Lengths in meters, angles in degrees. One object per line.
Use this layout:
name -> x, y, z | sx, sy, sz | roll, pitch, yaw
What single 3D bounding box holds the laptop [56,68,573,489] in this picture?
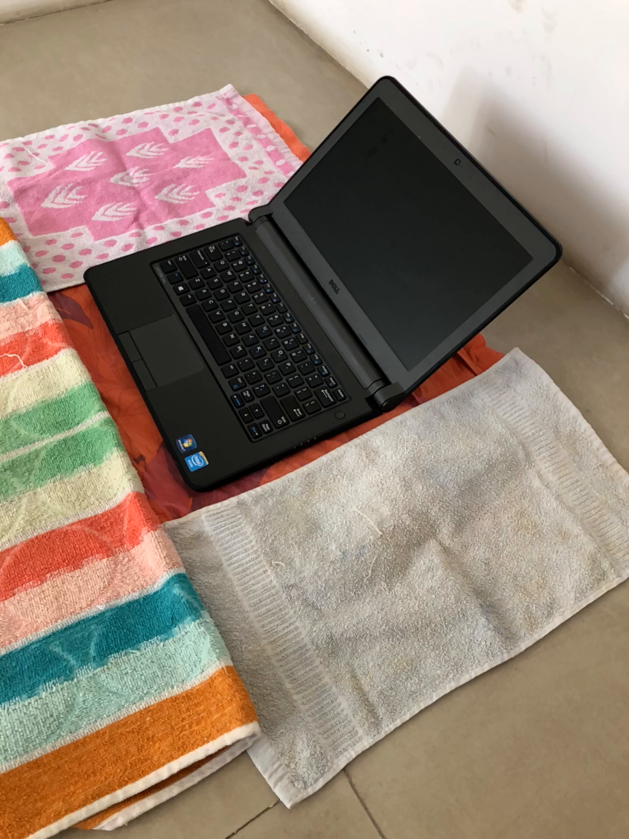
laptop -> -0.013, -0.167, 0.724 | 0.392, 0.143, 0.314 | -23, 61, -16
